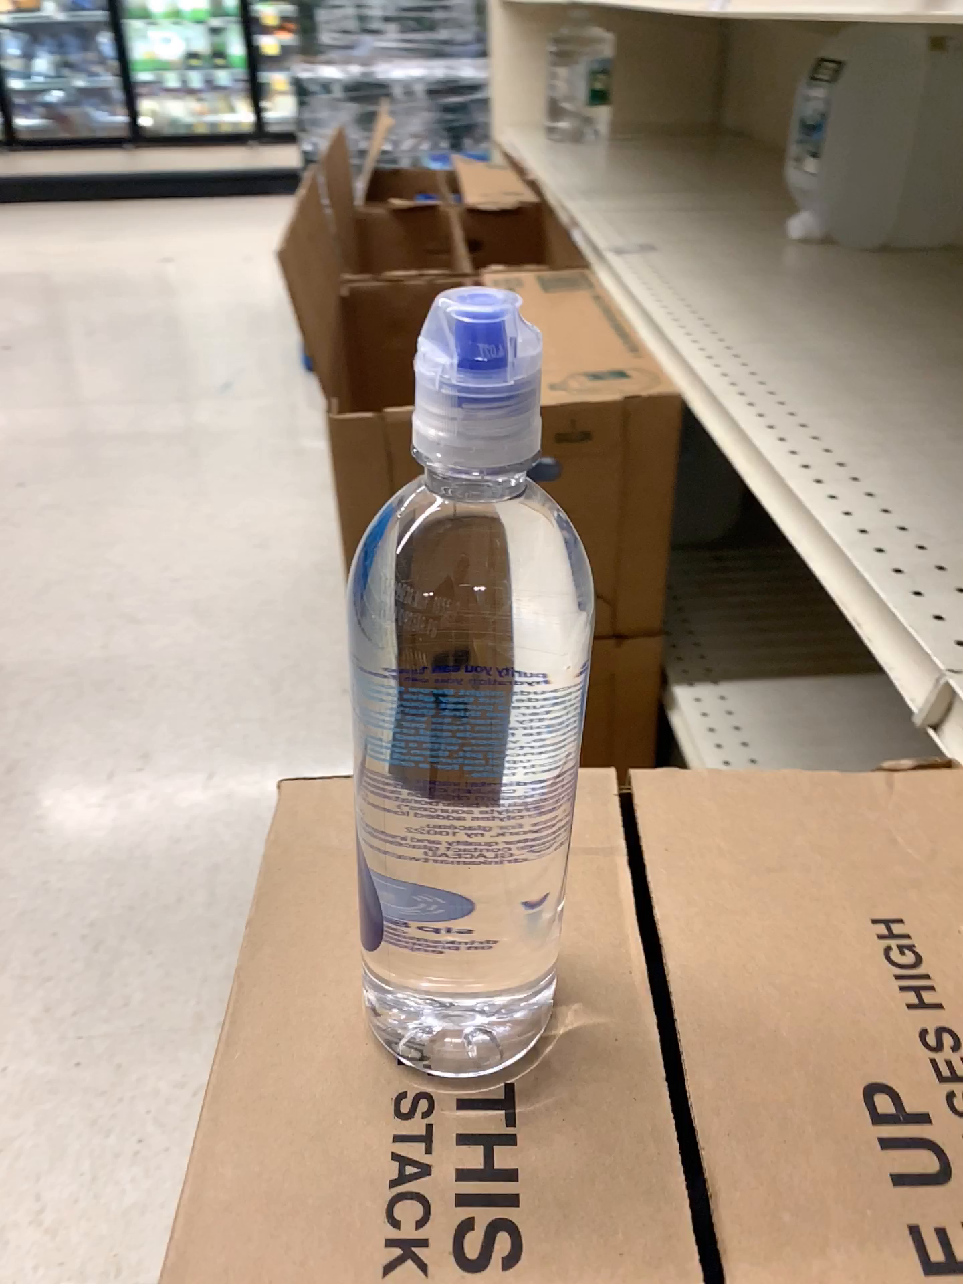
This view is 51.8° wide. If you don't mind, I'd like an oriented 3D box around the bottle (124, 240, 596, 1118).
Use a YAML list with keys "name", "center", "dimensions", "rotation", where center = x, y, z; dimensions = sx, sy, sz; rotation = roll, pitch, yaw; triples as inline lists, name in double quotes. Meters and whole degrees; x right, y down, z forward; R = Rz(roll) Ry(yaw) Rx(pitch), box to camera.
- name: "bottle"
  center: [-0.018, 0.023, 0.292]
  dimensions: [0.090, 0.249, 0.091]
  rotation: [-1, 33, 1]
